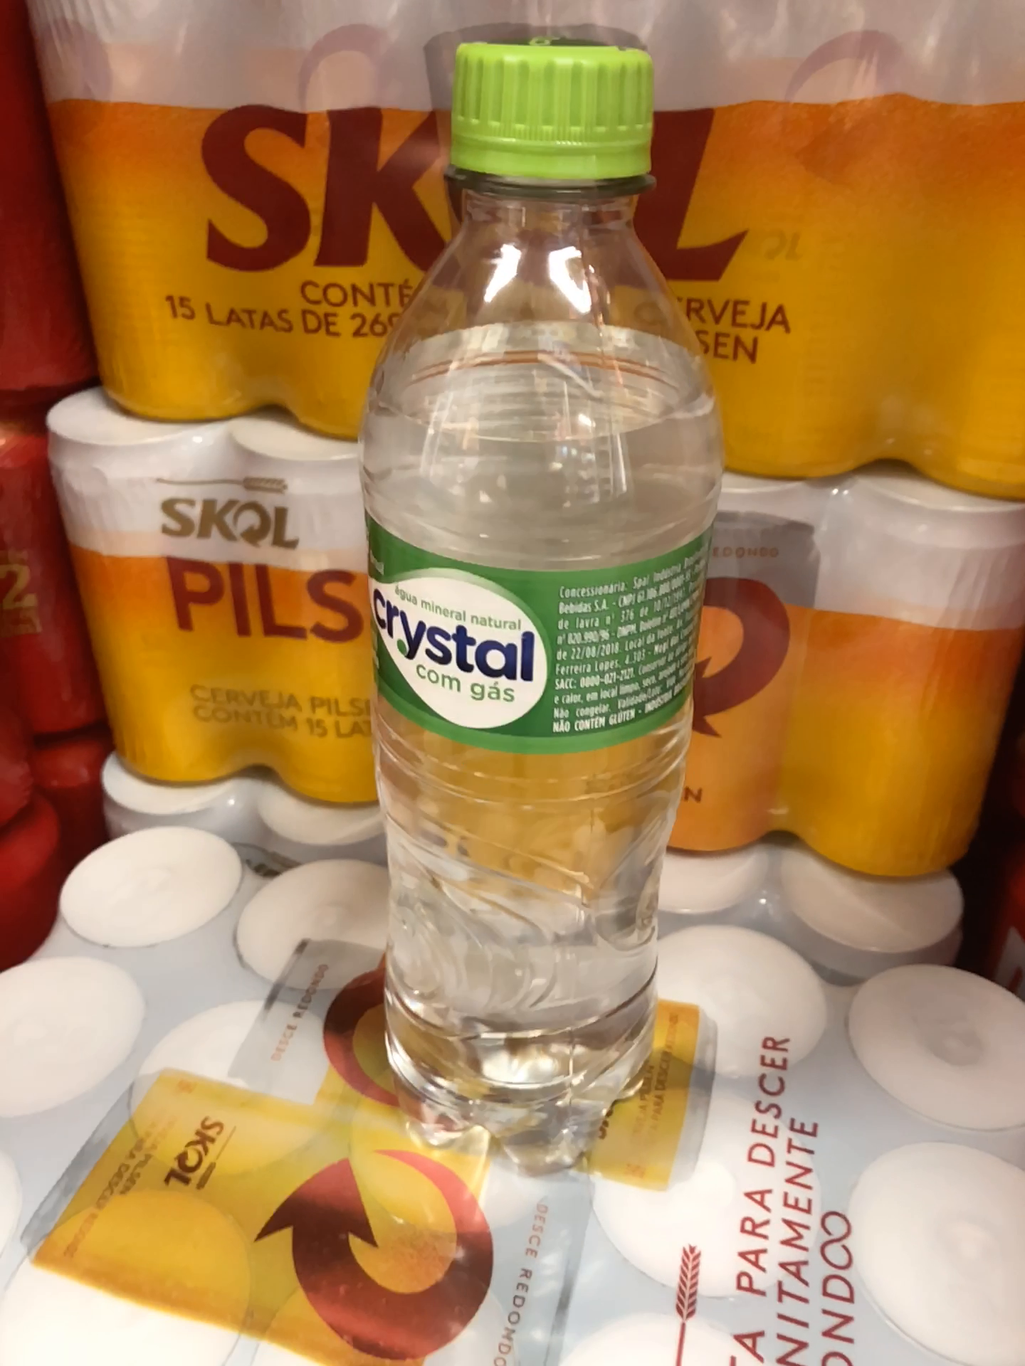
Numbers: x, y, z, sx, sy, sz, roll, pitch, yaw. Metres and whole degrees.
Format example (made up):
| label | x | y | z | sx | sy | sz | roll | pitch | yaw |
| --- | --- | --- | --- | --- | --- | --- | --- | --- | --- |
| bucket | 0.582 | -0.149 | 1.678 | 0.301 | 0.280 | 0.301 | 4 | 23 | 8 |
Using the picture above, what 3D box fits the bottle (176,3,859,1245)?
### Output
| label | x | y | z | sx | sy | sz | roll | pitch | yaw |
| --- | --- | --- | --- | --- | --- | --- | --- | --- | --- |
| bottle | 0.005 | 0.002 | 0.215 | 0.070 | 0.218 | 0.060 | 20 | 40 | 28 |
